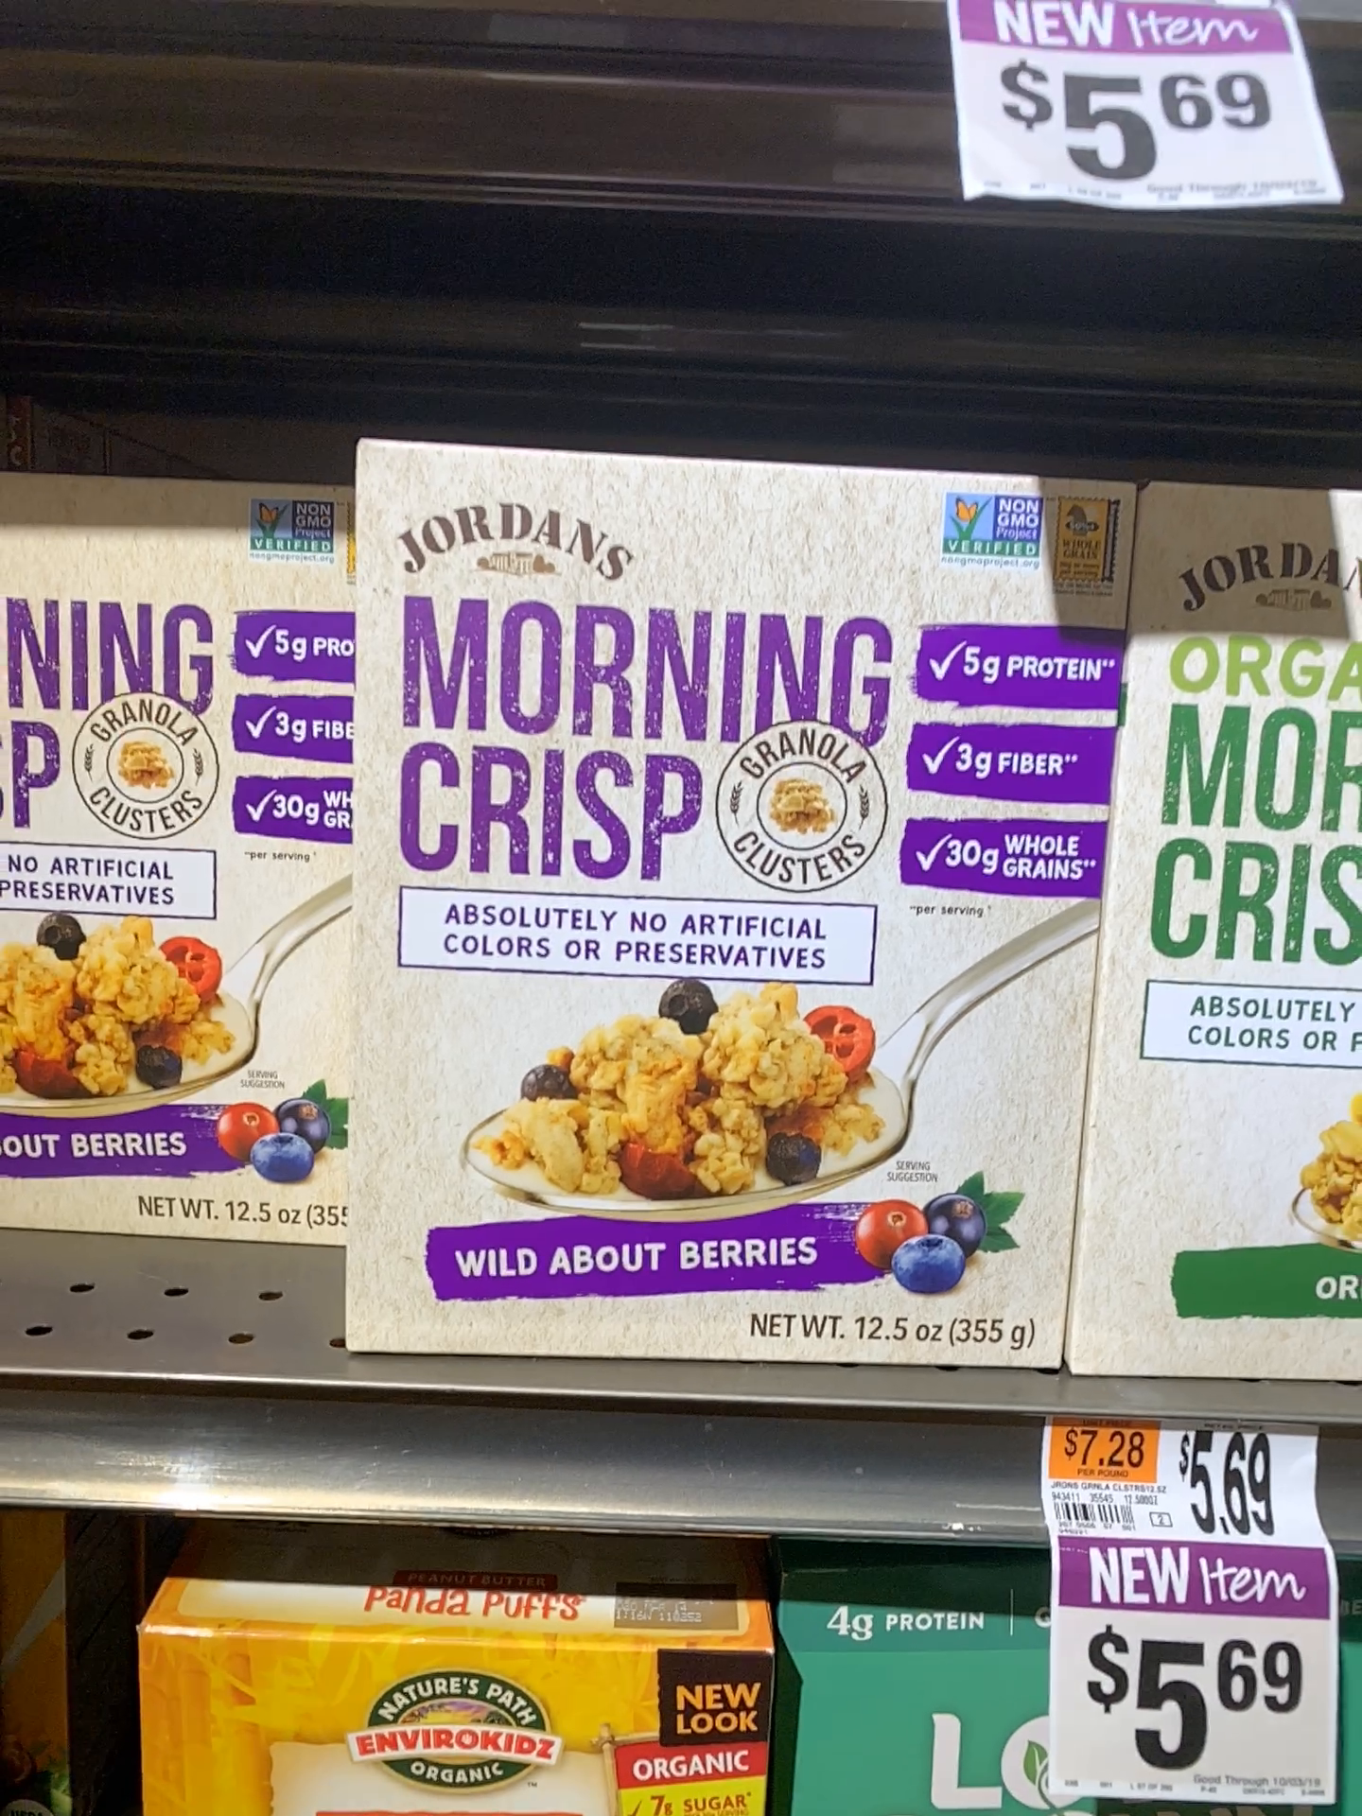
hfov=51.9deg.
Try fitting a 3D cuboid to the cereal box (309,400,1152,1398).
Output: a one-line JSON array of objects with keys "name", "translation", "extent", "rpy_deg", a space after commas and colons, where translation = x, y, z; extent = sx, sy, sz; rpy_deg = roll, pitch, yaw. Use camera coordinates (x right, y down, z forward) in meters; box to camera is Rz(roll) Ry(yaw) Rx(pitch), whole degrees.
[{"name": "cereal box", "translation": [0.007, 0.000, 0.343], "extent": [0.180, 0.220, 0.060], "rpy_deg": [2, 8, -2]}]
